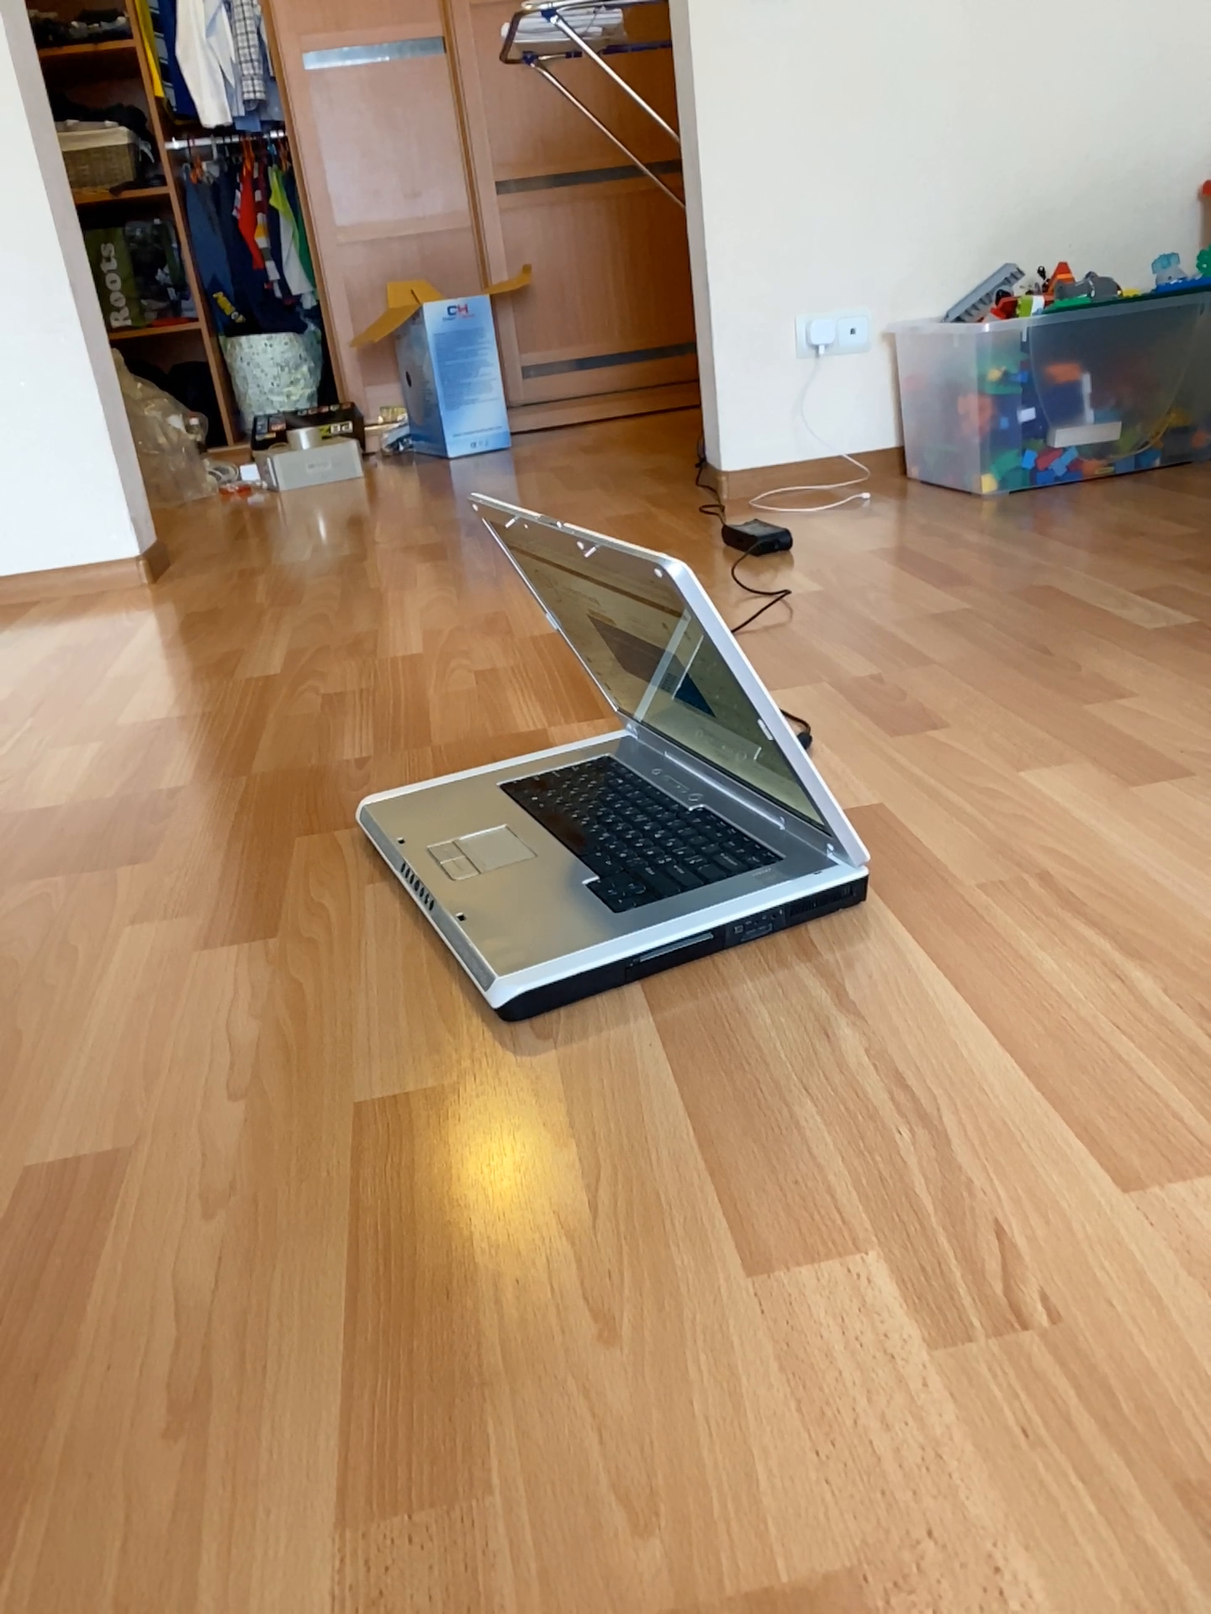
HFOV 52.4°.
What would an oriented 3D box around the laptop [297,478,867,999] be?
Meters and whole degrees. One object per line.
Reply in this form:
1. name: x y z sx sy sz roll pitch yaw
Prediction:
1. laptop: -0.035 -0.088 0.927 0.273 0.238 0.388 -16 24 -20
